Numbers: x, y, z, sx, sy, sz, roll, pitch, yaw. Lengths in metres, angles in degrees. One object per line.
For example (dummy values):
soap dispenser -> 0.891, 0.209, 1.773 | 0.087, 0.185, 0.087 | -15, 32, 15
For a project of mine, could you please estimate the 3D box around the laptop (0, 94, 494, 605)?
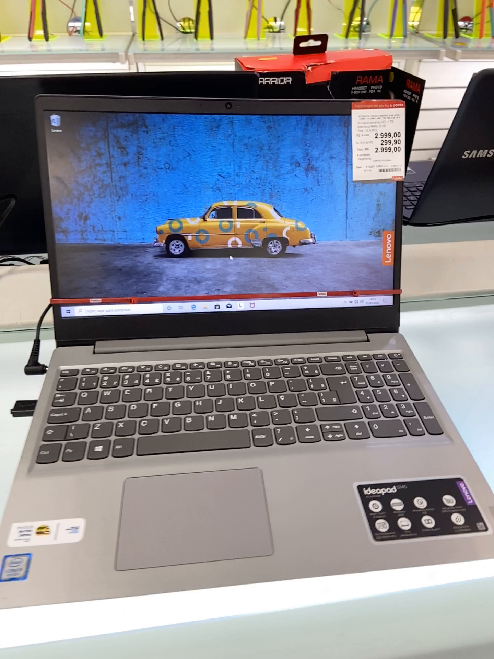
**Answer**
laptop -> -0.007, -0.037, 0.424 | 0.368, 0.209, 0.381 | -3, 38, -5
